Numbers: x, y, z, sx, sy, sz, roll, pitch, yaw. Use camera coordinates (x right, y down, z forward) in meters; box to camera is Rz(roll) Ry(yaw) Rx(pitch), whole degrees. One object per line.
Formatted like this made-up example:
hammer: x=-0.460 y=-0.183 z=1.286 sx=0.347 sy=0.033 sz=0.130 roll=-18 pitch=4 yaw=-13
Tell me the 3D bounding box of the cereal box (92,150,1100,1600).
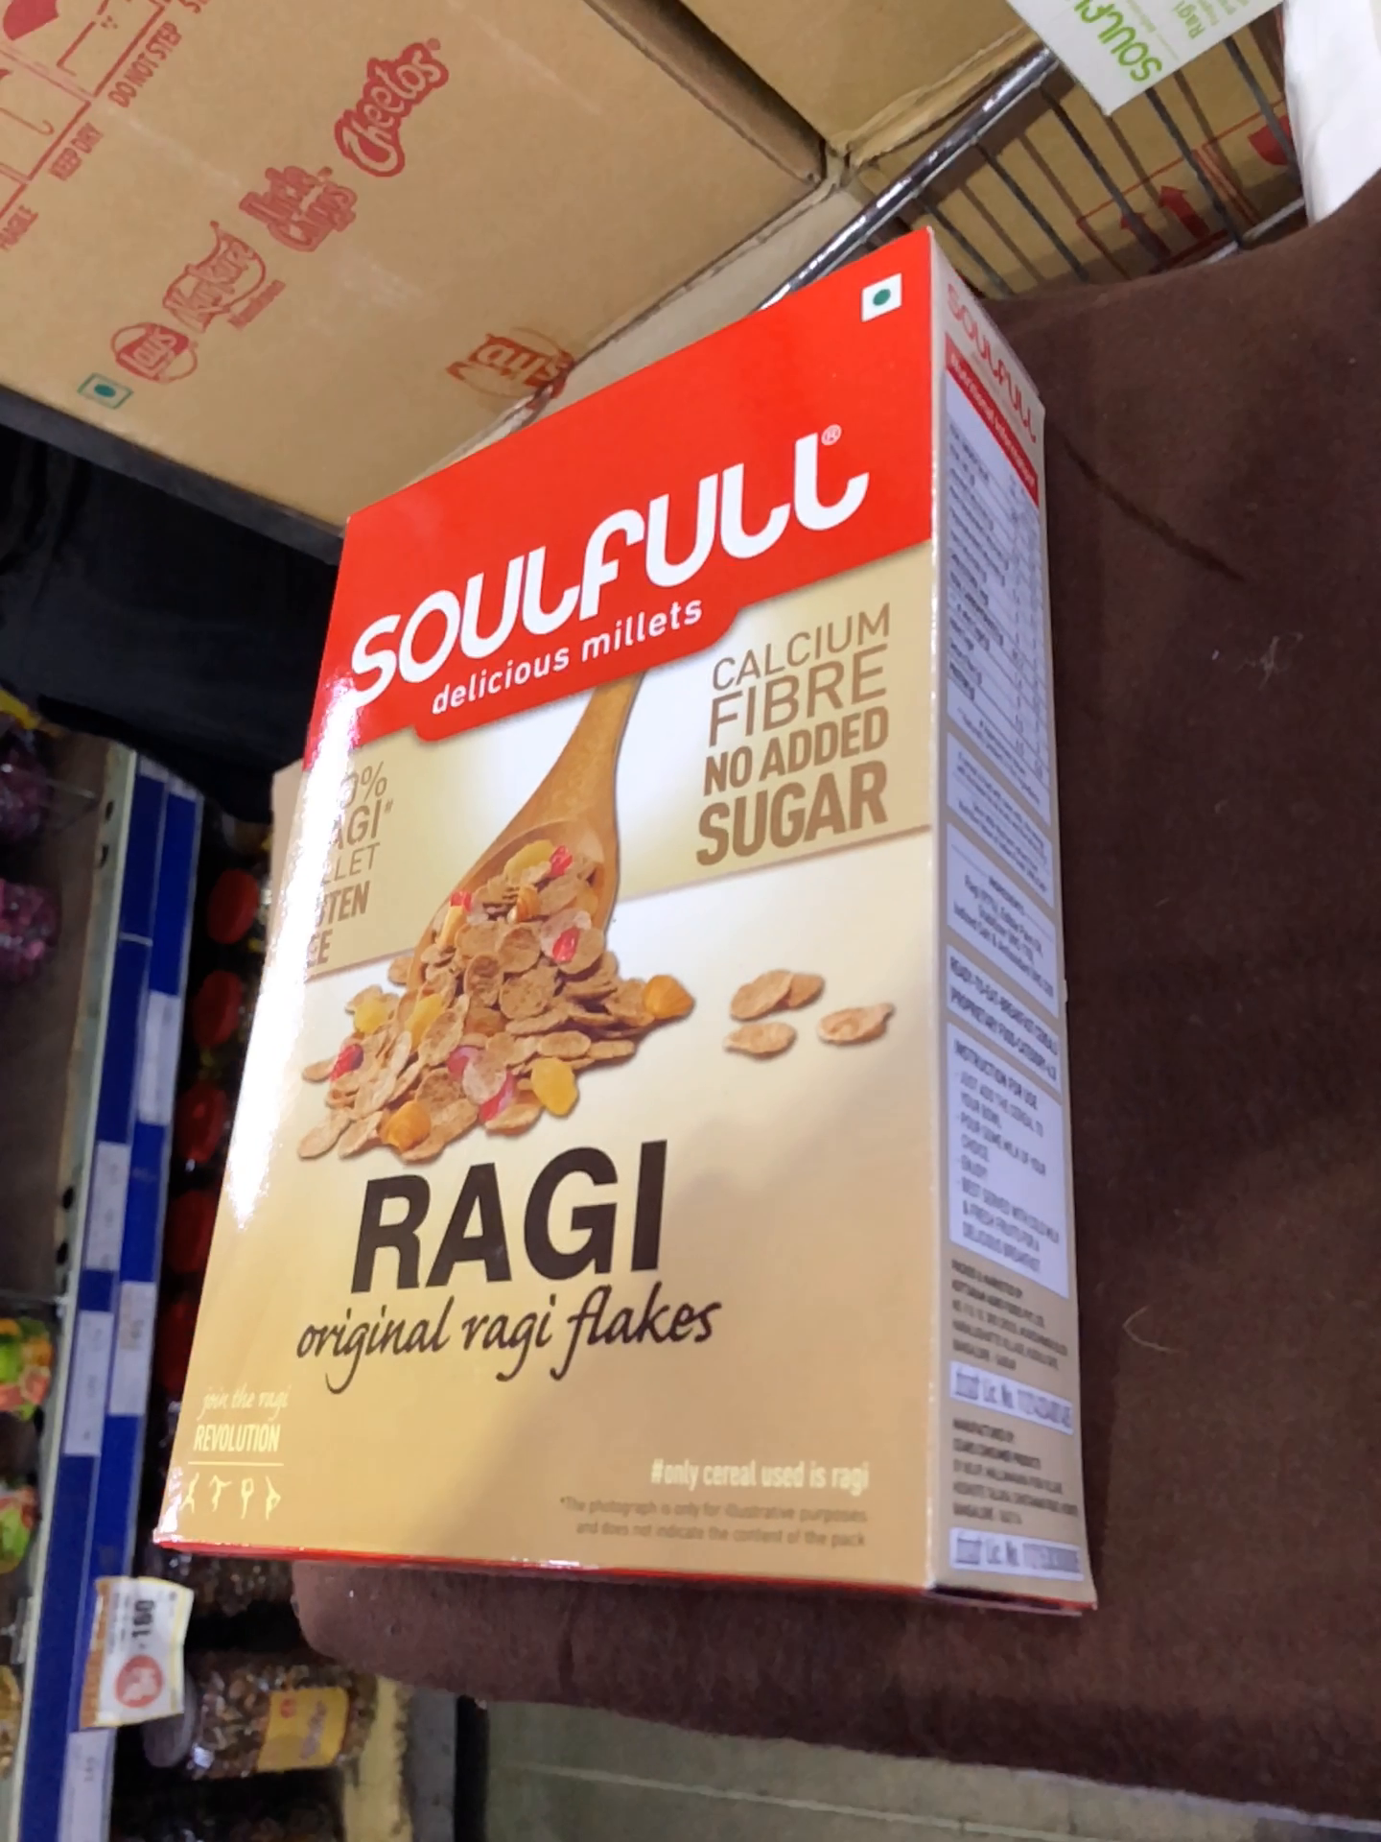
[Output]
cereal box: x=-0.019 y=-0.005 z=0.296 sx=0.171 sy=0.050 sz=0.240 roll=-13 pitch=62 yaw=33
